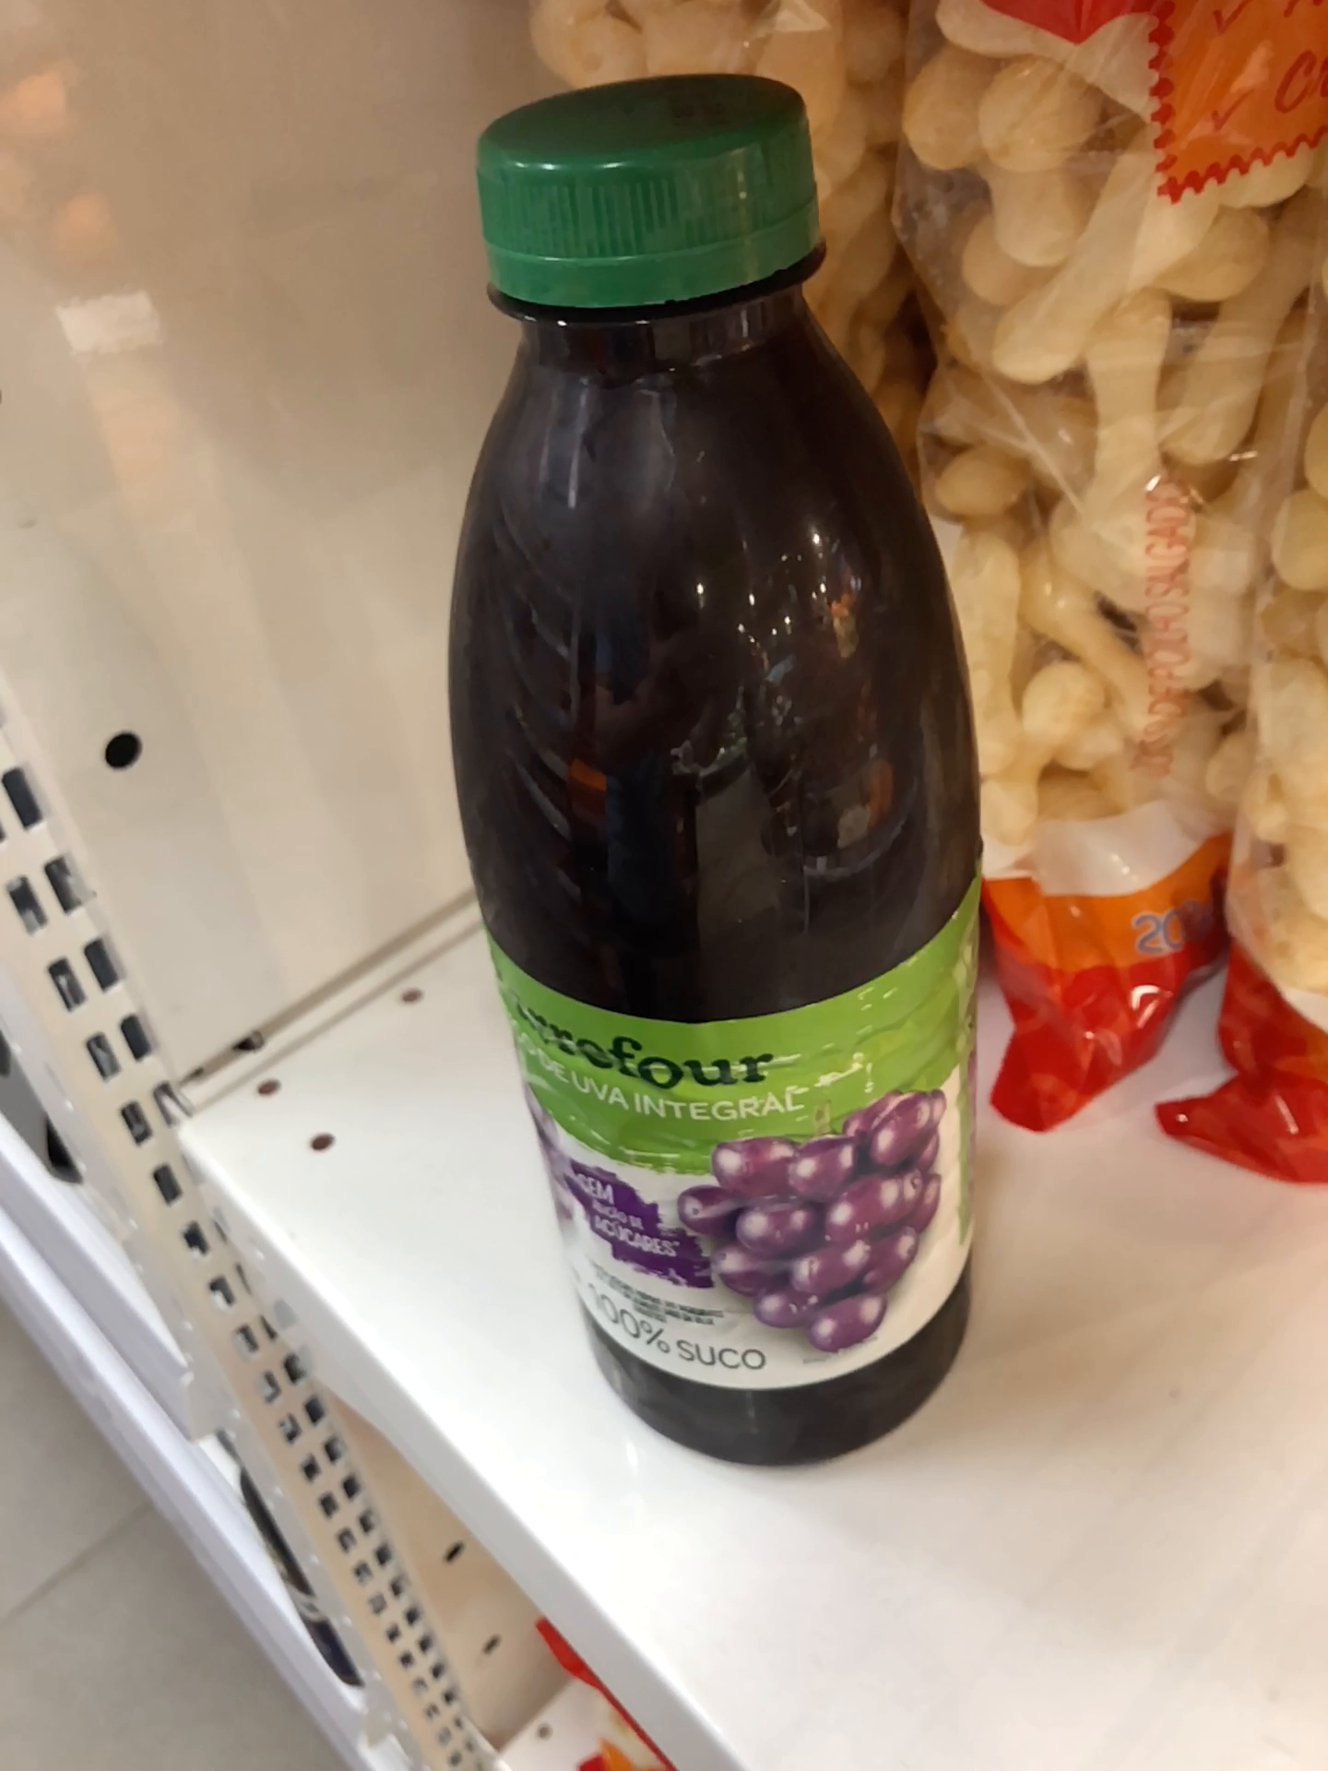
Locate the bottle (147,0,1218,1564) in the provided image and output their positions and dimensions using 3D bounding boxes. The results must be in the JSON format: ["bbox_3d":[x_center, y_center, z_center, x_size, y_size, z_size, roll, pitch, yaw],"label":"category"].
[{"bbox_3d":[0.015,-0.001,0.236,0.090,0.228,0.080,16,46,25],"label":"bottle"}]
